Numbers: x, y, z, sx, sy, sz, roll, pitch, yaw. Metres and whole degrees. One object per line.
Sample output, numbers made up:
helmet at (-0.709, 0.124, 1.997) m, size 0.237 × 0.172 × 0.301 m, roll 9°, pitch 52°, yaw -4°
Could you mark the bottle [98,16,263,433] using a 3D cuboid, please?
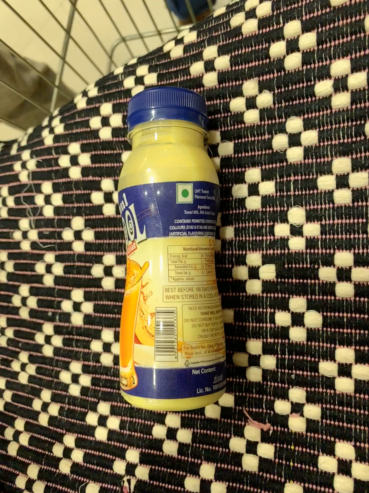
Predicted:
bottle at (-0.004, -0.008, 0.185) m, size 0.060 × 0.060 × 0.160 m, roll 3°, pitch 84°, yaw -19°
